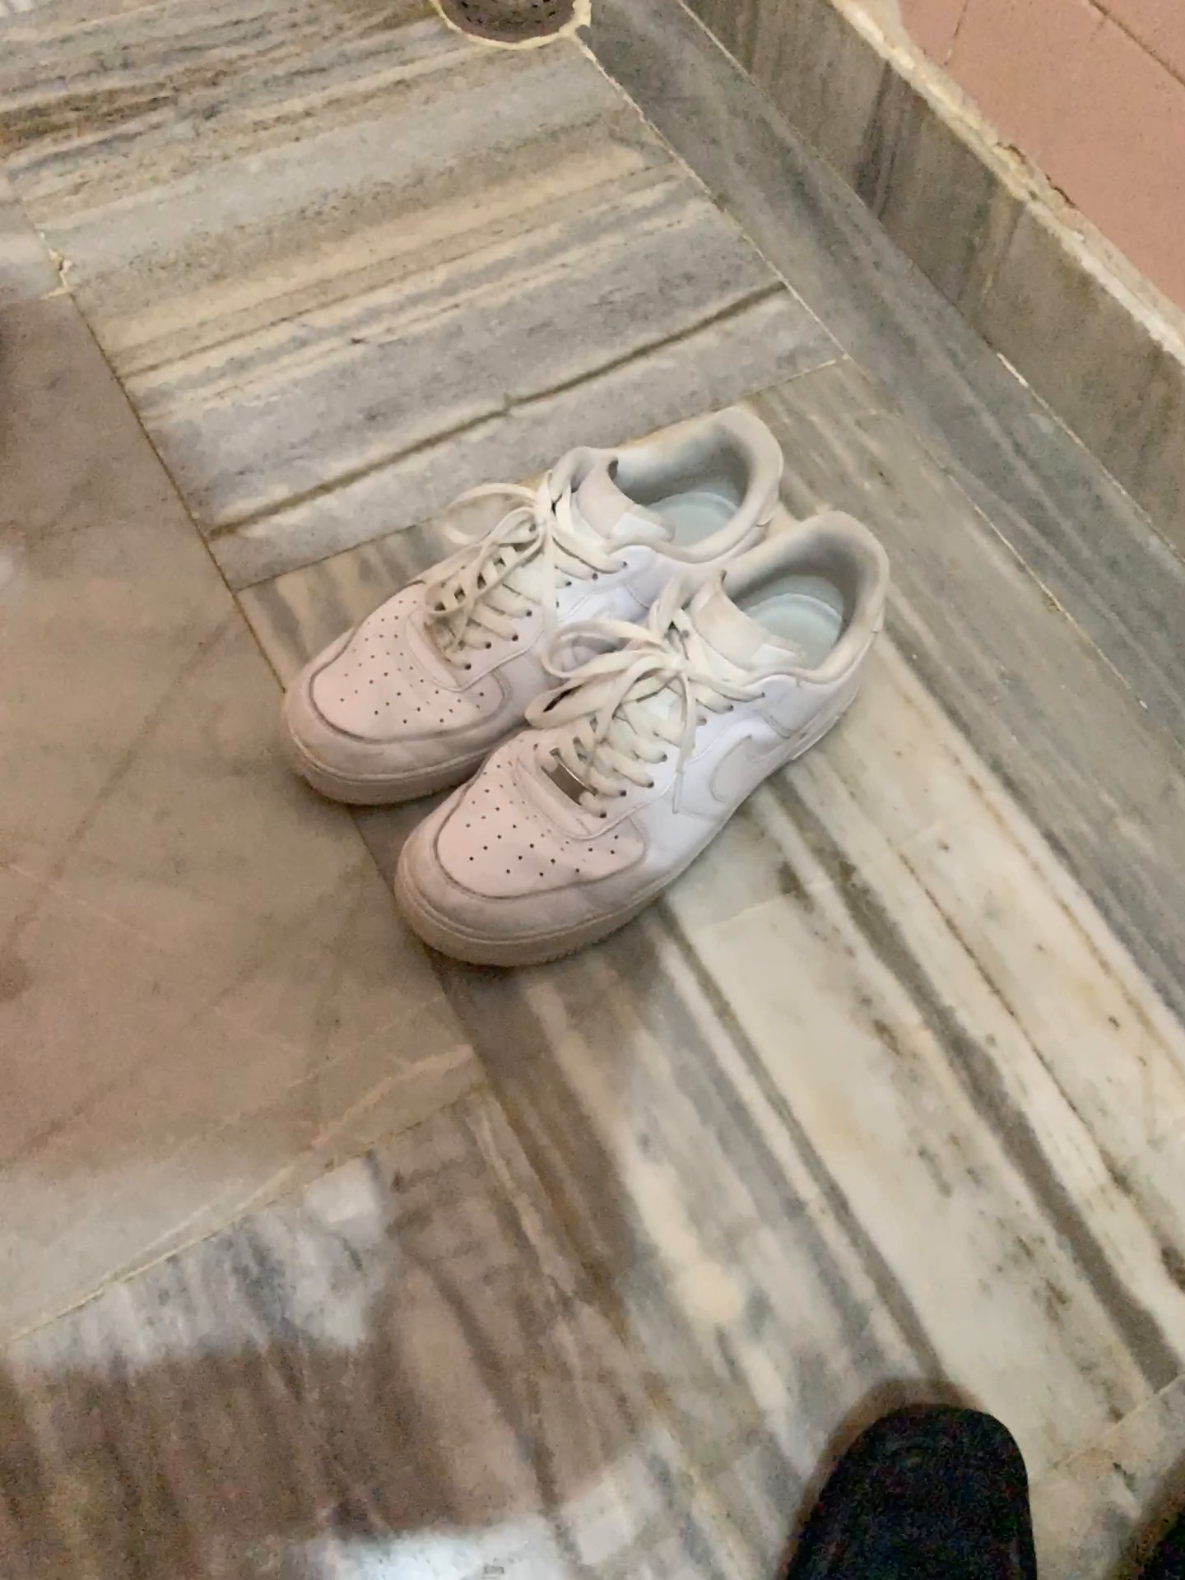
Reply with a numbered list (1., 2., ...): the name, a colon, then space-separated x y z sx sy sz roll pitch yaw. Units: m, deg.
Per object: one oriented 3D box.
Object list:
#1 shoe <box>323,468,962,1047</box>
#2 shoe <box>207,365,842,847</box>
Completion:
1. shoe: 0.028 -0.020 0.626 0.310 0.120 0.110 -36 72 -20
2. shoe: -0.033 -0.104 0.670 0.310 0.120 0.110 -26 69 -16
